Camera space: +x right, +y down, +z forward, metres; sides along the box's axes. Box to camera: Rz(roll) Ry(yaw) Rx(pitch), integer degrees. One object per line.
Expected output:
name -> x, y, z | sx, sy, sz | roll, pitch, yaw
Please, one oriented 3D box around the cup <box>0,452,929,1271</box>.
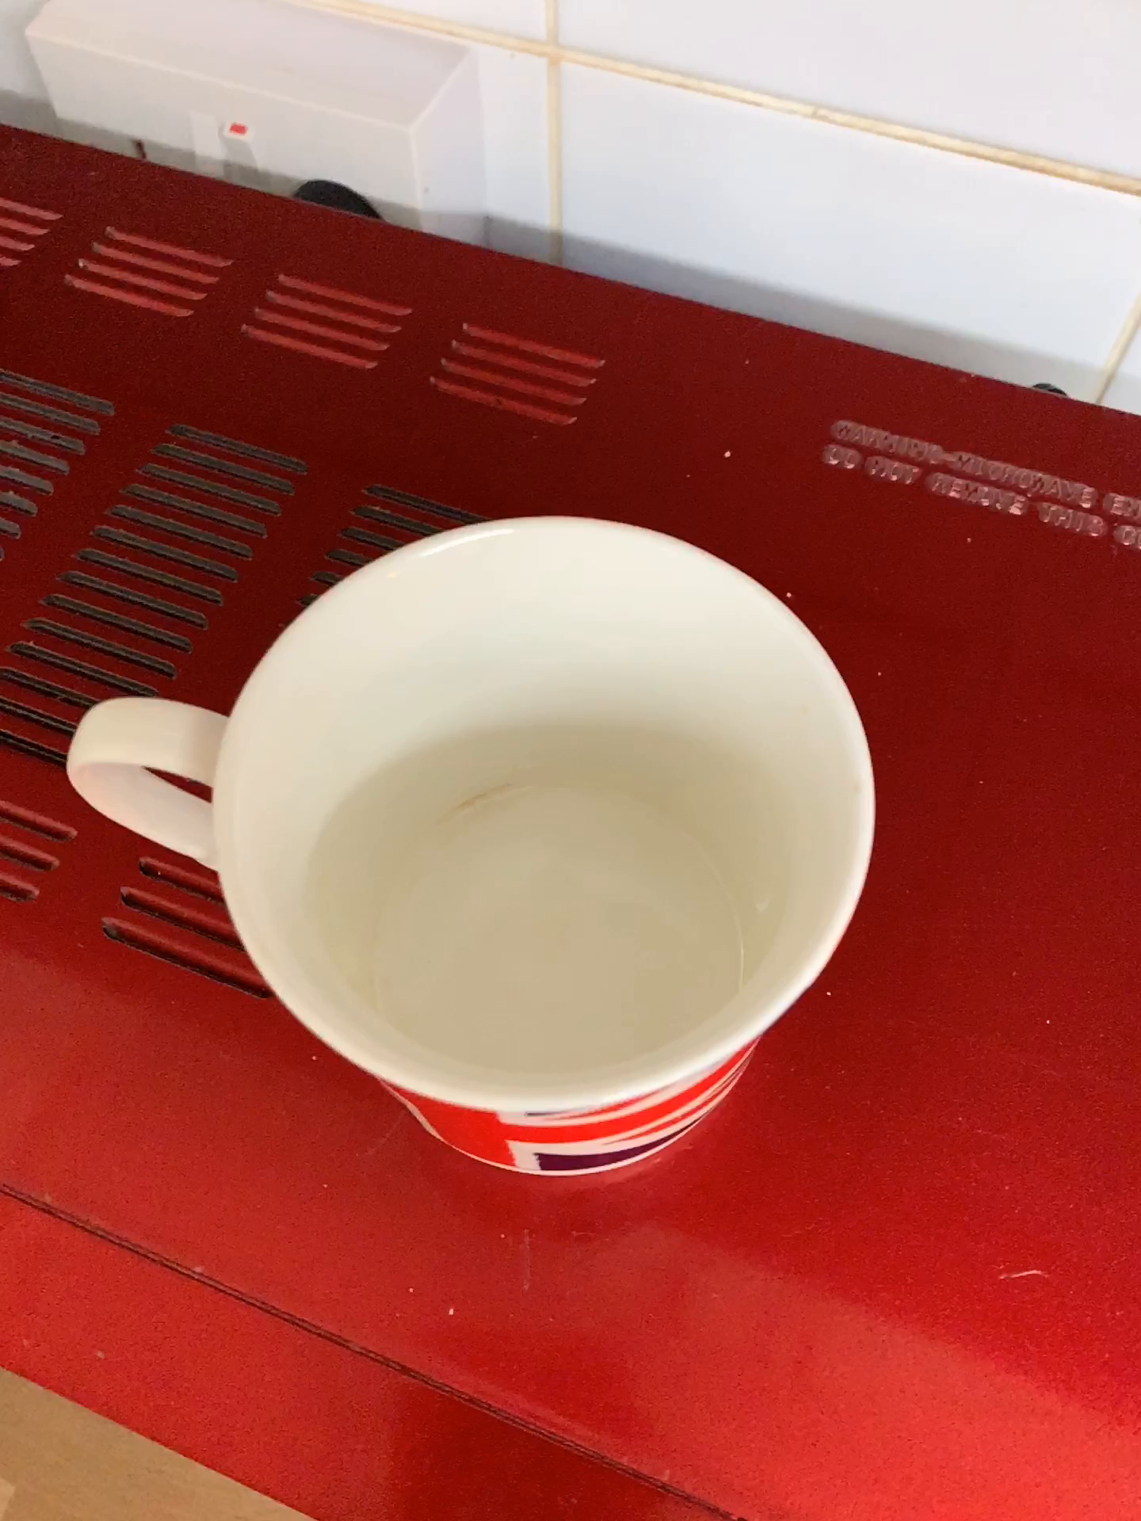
cup -> -0.018, 0.019, 0.186 | 0.120, 0.080, 0.080 | 12, 63, 7
